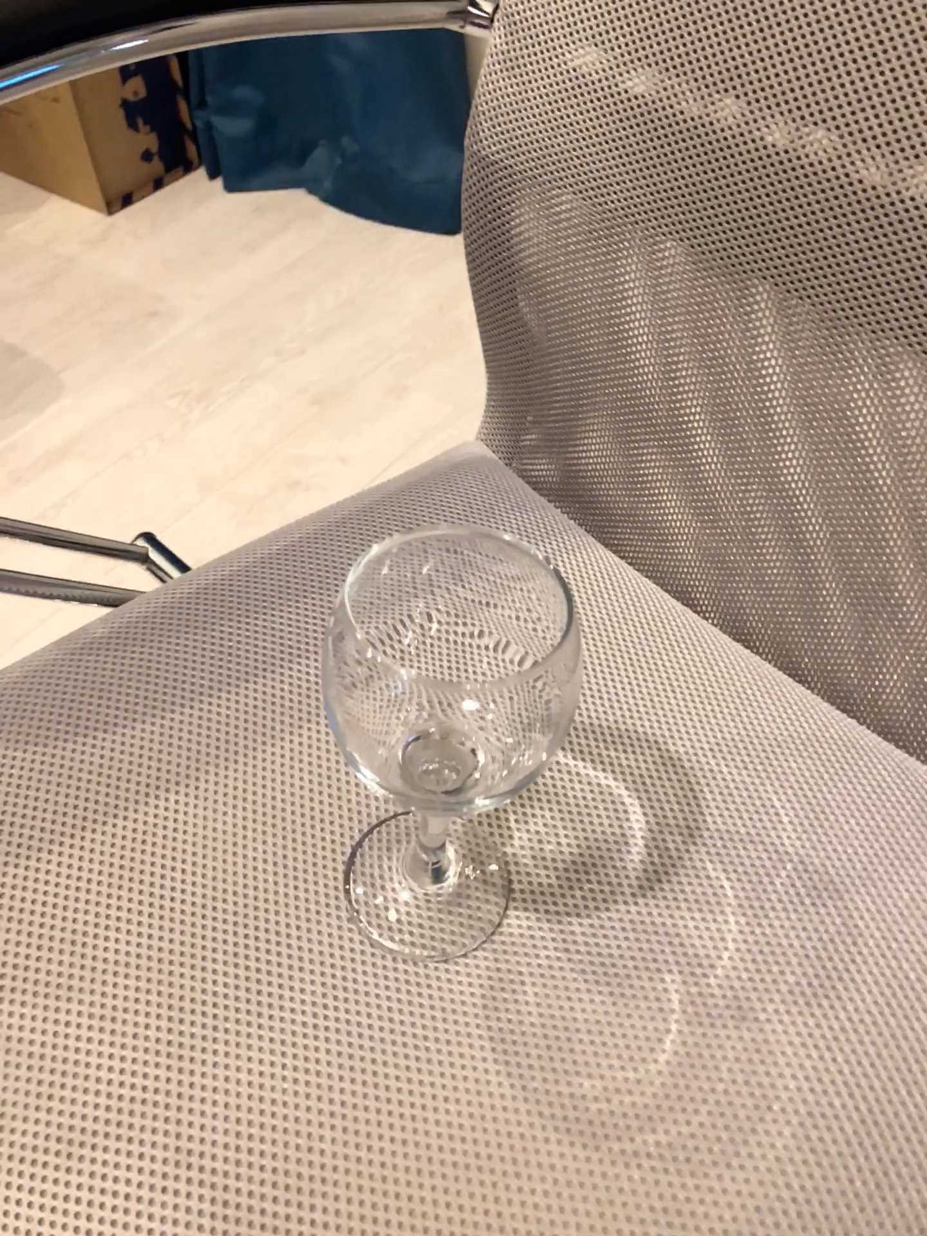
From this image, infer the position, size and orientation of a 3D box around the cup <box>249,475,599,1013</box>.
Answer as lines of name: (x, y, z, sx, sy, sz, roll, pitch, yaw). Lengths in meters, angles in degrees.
cup: (-0.005, 0.051, 0.350, 0.080, 0.172, 0.089, 8, 48, 9)
